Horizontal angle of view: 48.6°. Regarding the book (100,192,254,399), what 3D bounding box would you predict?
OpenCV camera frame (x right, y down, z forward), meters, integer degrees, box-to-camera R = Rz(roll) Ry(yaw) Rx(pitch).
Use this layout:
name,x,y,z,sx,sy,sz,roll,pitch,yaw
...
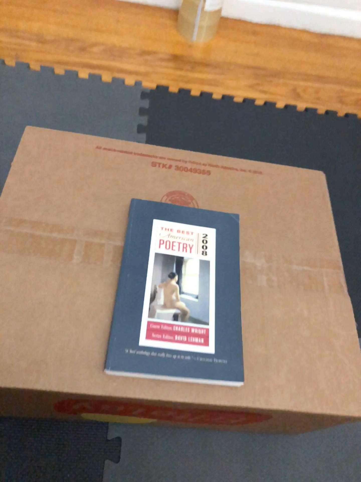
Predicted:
name,x,y,z,sx,sy,sz,roll,pitch,yaw
book,0.000,0.051,0.455,0.150,0.020,0.231,7,57,-7
